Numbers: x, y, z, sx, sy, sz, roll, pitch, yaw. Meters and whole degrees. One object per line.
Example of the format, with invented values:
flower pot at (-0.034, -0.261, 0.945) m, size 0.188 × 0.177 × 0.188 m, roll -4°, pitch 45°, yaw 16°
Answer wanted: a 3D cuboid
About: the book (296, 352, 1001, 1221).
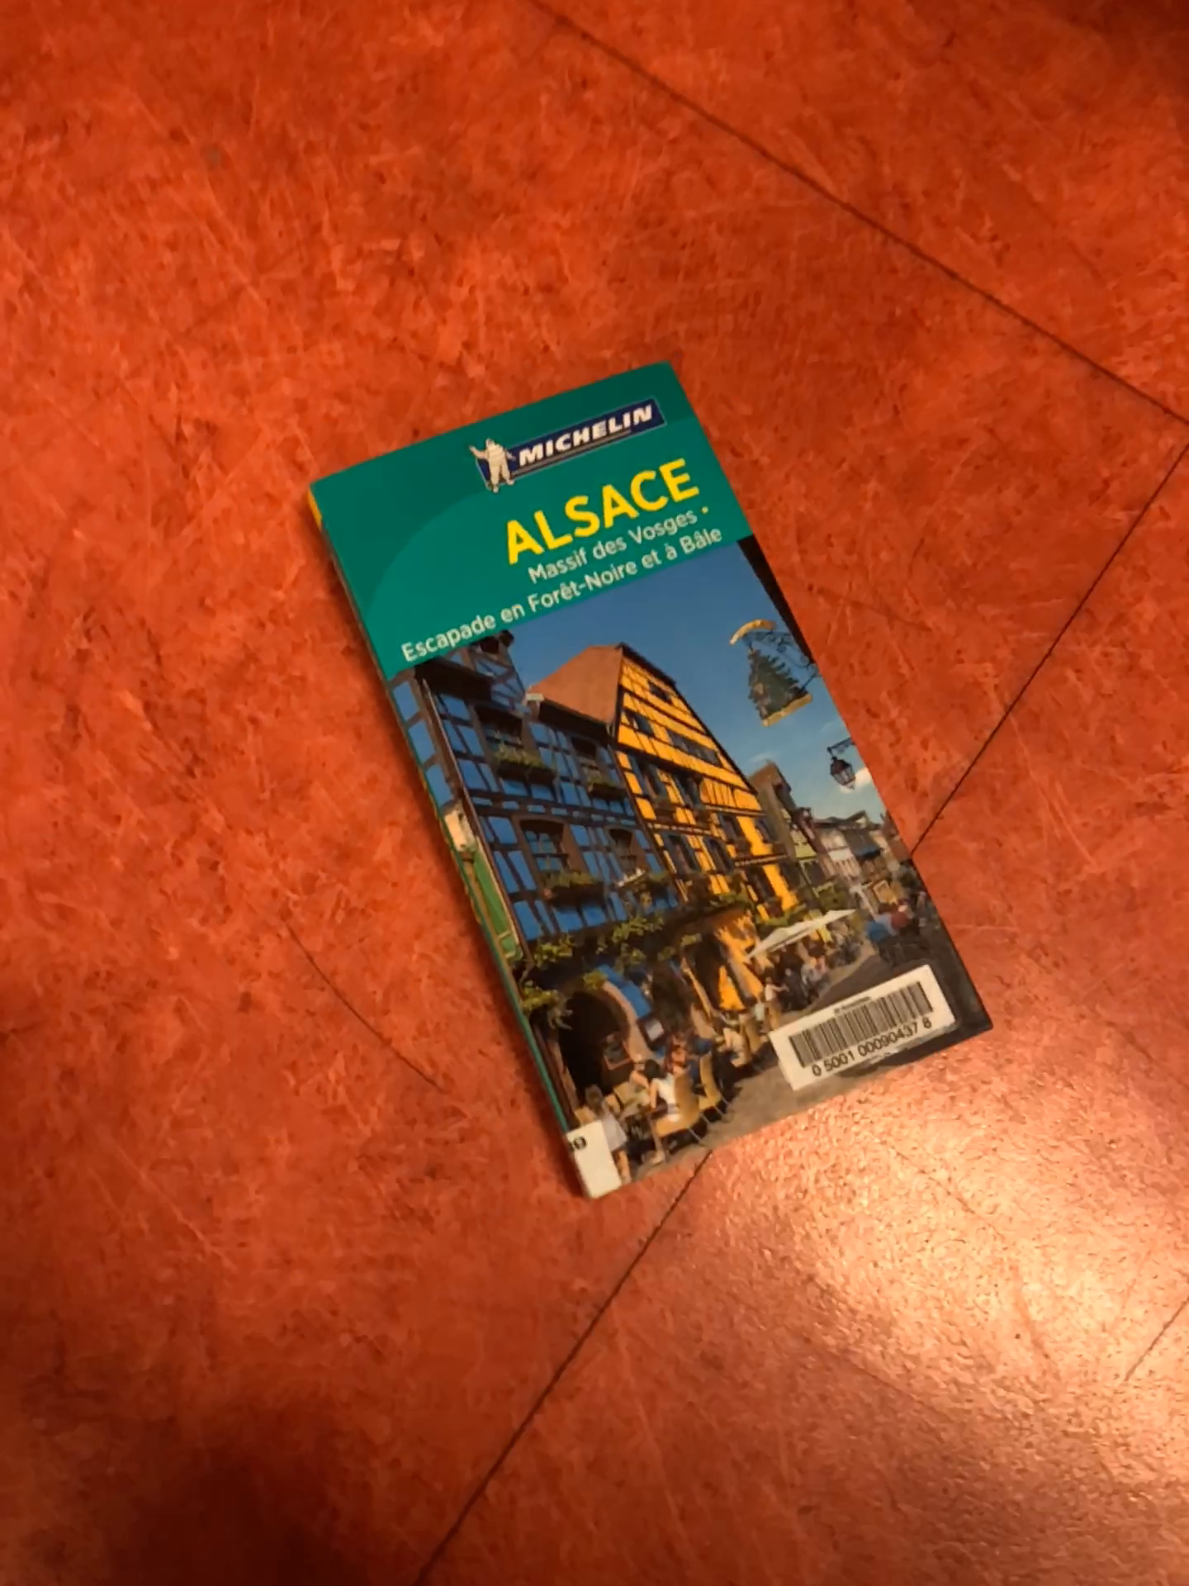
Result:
book at (0.010, -0.008, 0.366) m, size 0.116 × 0.030 × 0.213 m, roll -21°, pitch 77°, yaw -8°
